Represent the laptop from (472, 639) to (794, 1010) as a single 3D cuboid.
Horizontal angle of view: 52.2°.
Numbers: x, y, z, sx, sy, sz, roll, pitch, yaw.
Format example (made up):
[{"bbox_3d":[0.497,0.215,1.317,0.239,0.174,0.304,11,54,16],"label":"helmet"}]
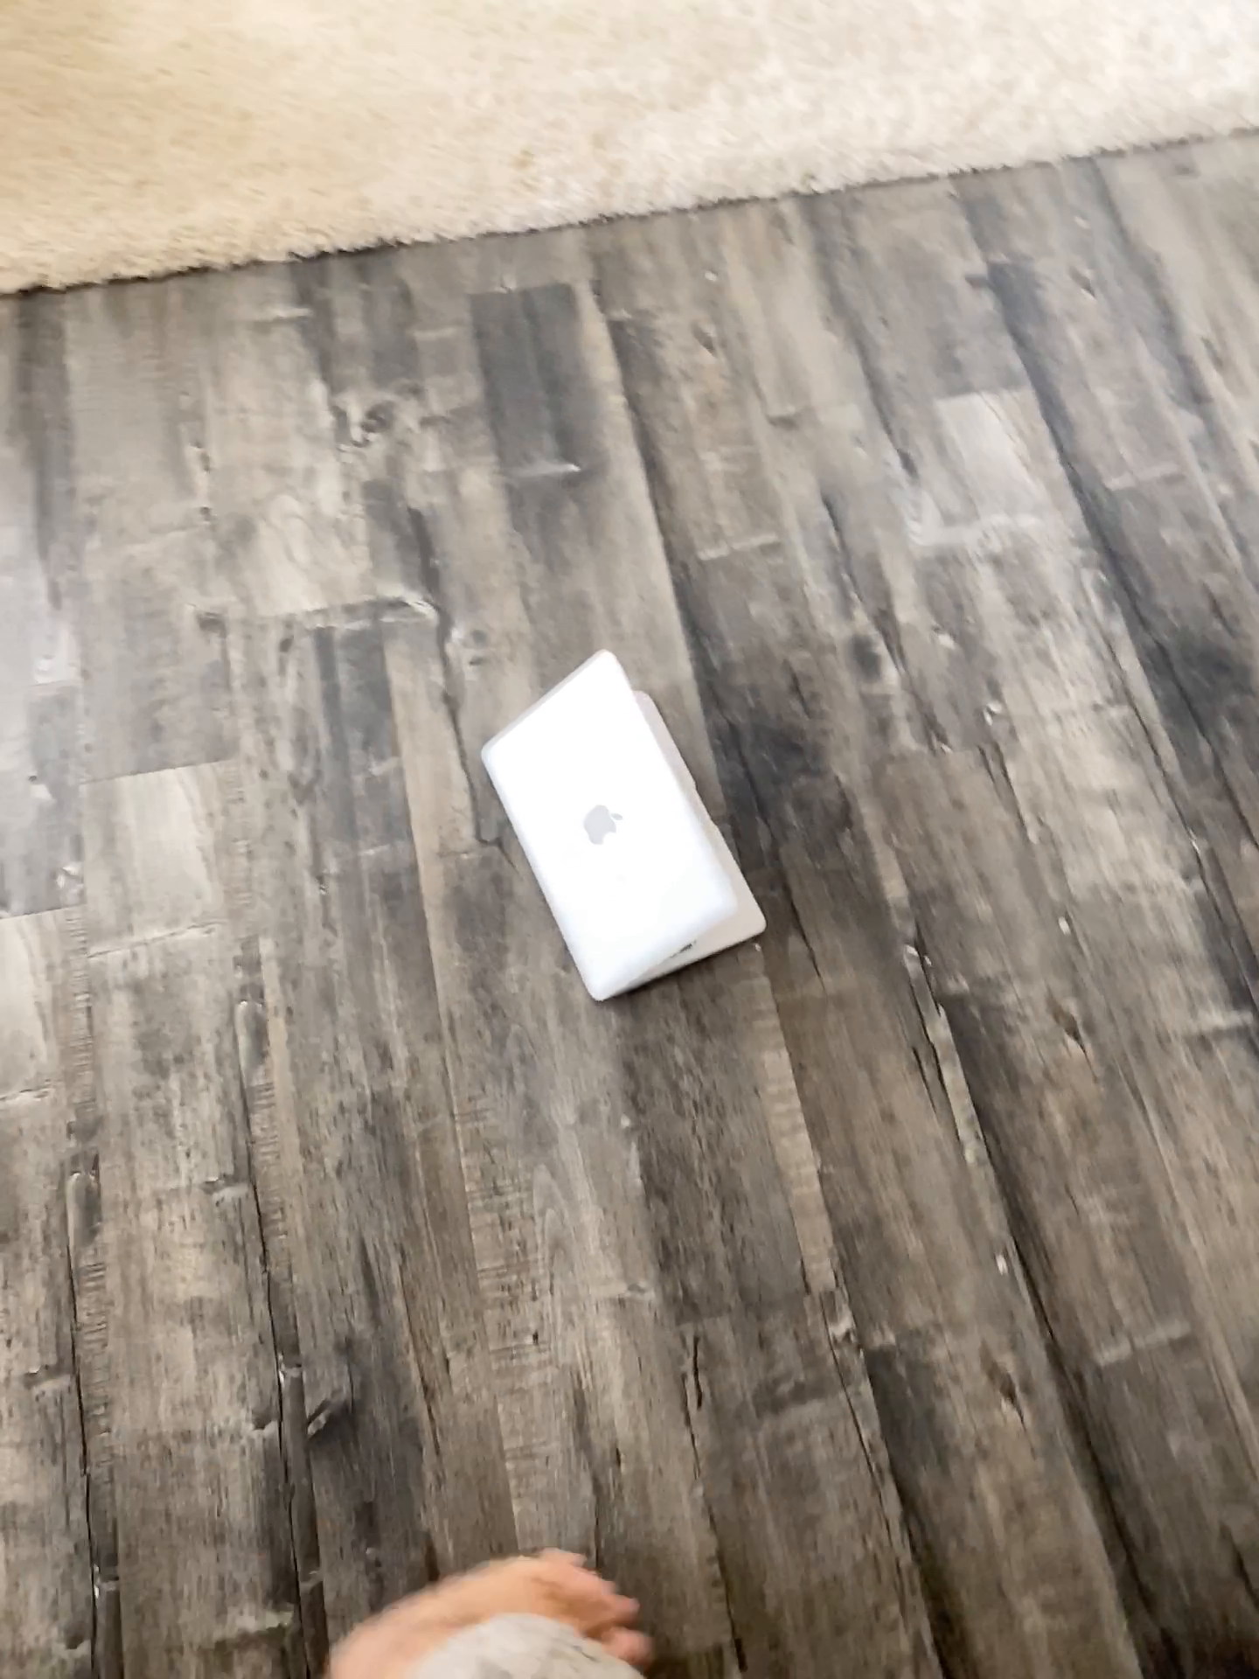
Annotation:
[{"bbox_3d":[-0.003,-0.014,1.144,0.172,0.113,0.270,-23,70,-10],"label":"laptop"}]
